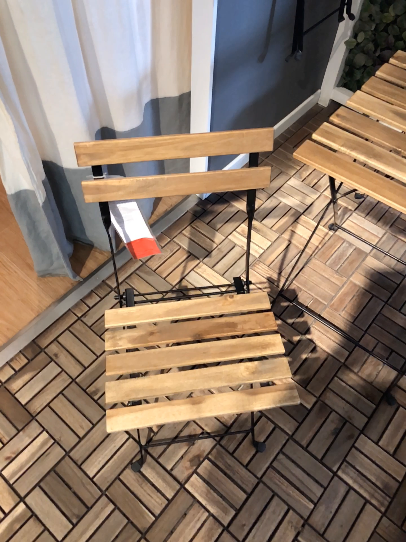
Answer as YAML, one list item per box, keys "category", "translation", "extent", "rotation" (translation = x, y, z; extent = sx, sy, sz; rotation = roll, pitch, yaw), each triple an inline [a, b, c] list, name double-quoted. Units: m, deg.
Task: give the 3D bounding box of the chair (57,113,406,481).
- category: "chair"
  translation: [-0.001, 0.119, 0.957]
  extent: [0.430, 0.726, 0.432]
  rotation: [-6, 56, -6]
